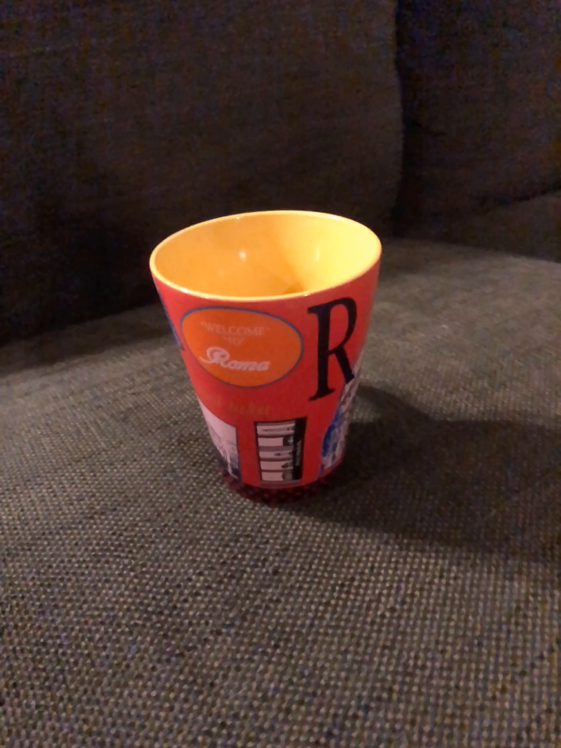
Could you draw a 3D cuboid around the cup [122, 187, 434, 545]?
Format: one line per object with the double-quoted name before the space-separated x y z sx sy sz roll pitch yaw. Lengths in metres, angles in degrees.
"cup" -0.008 -0.014 0.280 0.090 0.099 0.121 -13 31 -17
